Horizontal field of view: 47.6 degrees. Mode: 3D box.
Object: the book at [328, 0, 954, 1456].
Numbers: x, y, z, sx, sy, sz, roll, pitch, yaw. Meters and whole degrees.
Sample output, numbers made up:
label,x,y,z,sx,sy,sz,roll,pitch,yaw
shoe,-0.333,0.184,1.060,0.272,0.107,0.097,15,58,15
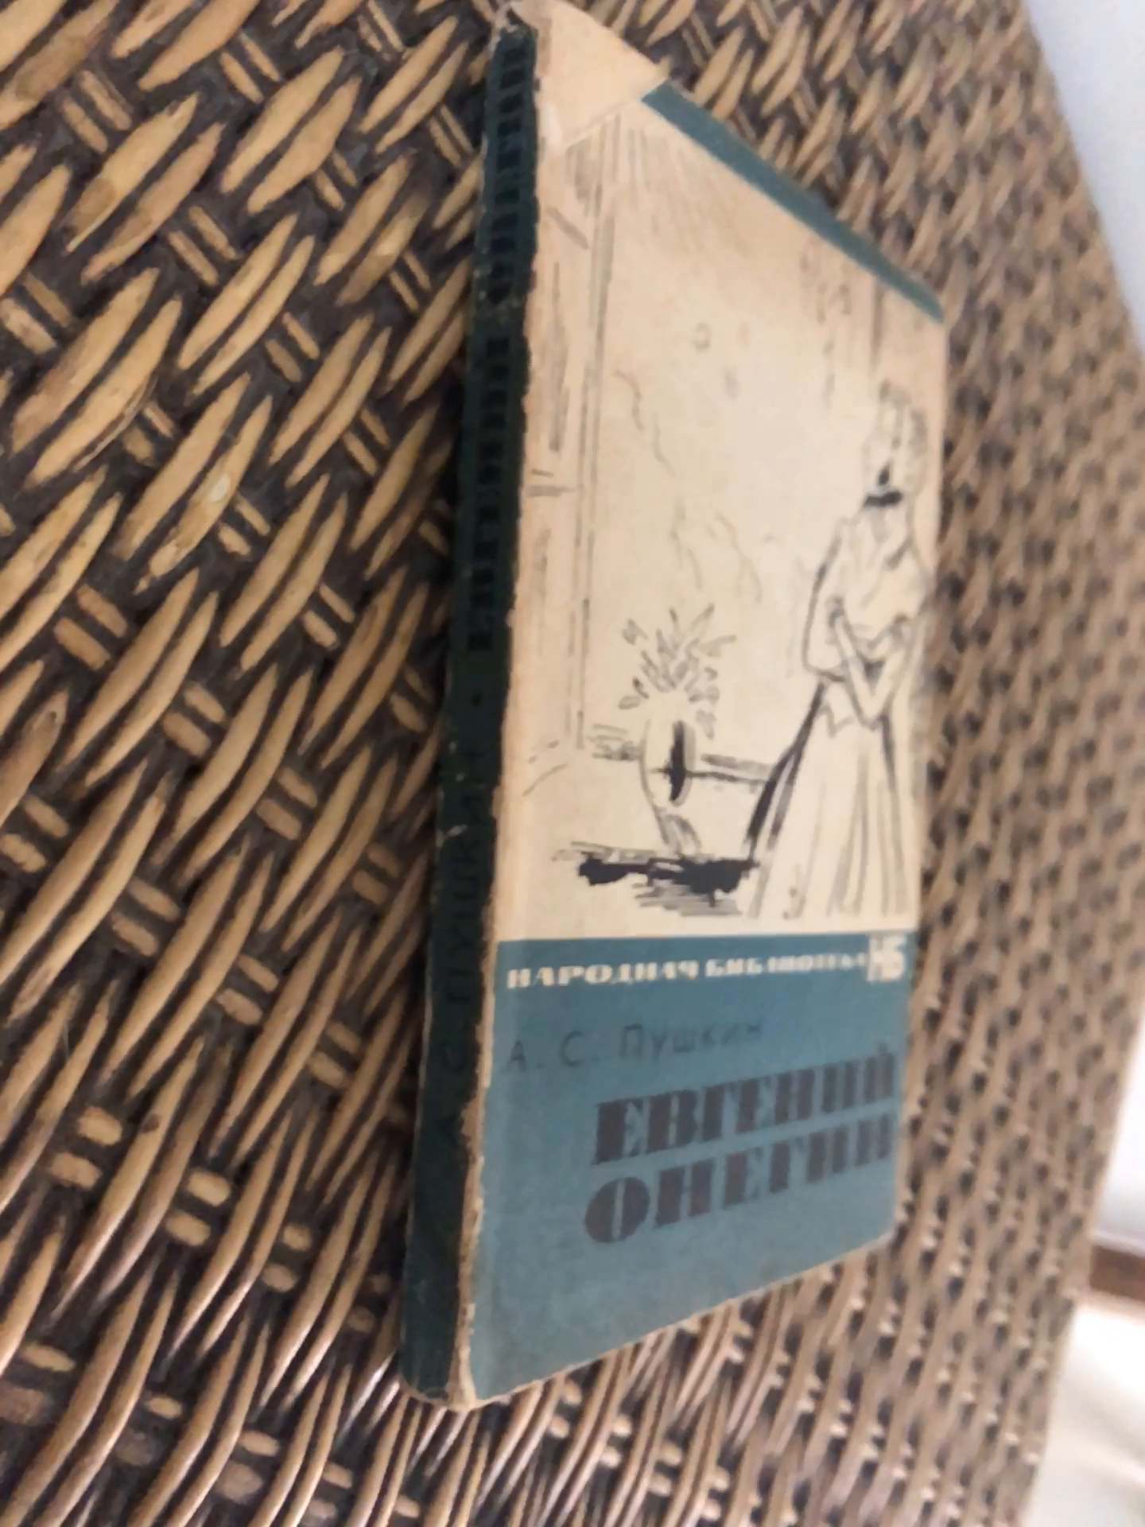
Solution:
label,x,y,z,sx,sy,sz,roll,pitch,yaw
book,0.022,-0.006,0.214,0.121,0.020,0.190,8,85,-48
